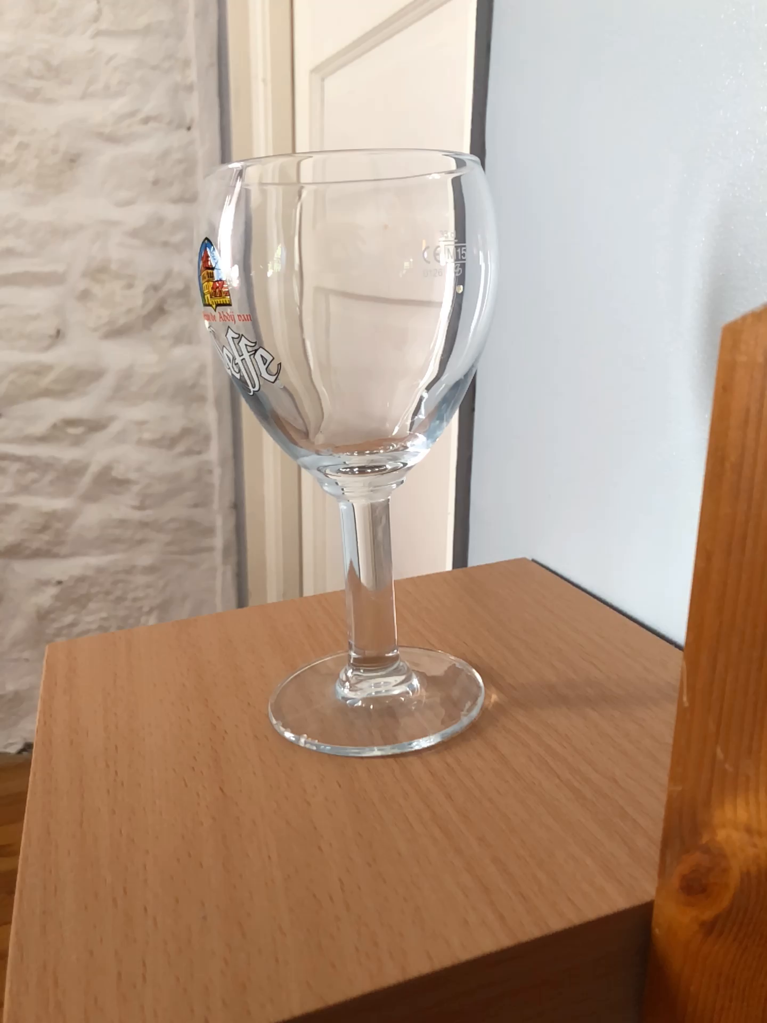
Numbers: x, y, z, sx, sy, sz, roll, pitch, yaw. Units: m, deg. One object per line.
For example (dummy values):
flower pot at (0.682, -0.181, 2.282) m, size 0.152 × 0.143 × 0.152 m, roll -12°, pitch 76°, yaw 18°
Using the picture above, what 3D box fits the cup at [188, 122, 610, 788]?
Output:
cup at (0.000, -0.024, 0.296) m, size 0.100 × 0.185 × 0.095 m, roll 1°, pitch 15°, yaw 0°
